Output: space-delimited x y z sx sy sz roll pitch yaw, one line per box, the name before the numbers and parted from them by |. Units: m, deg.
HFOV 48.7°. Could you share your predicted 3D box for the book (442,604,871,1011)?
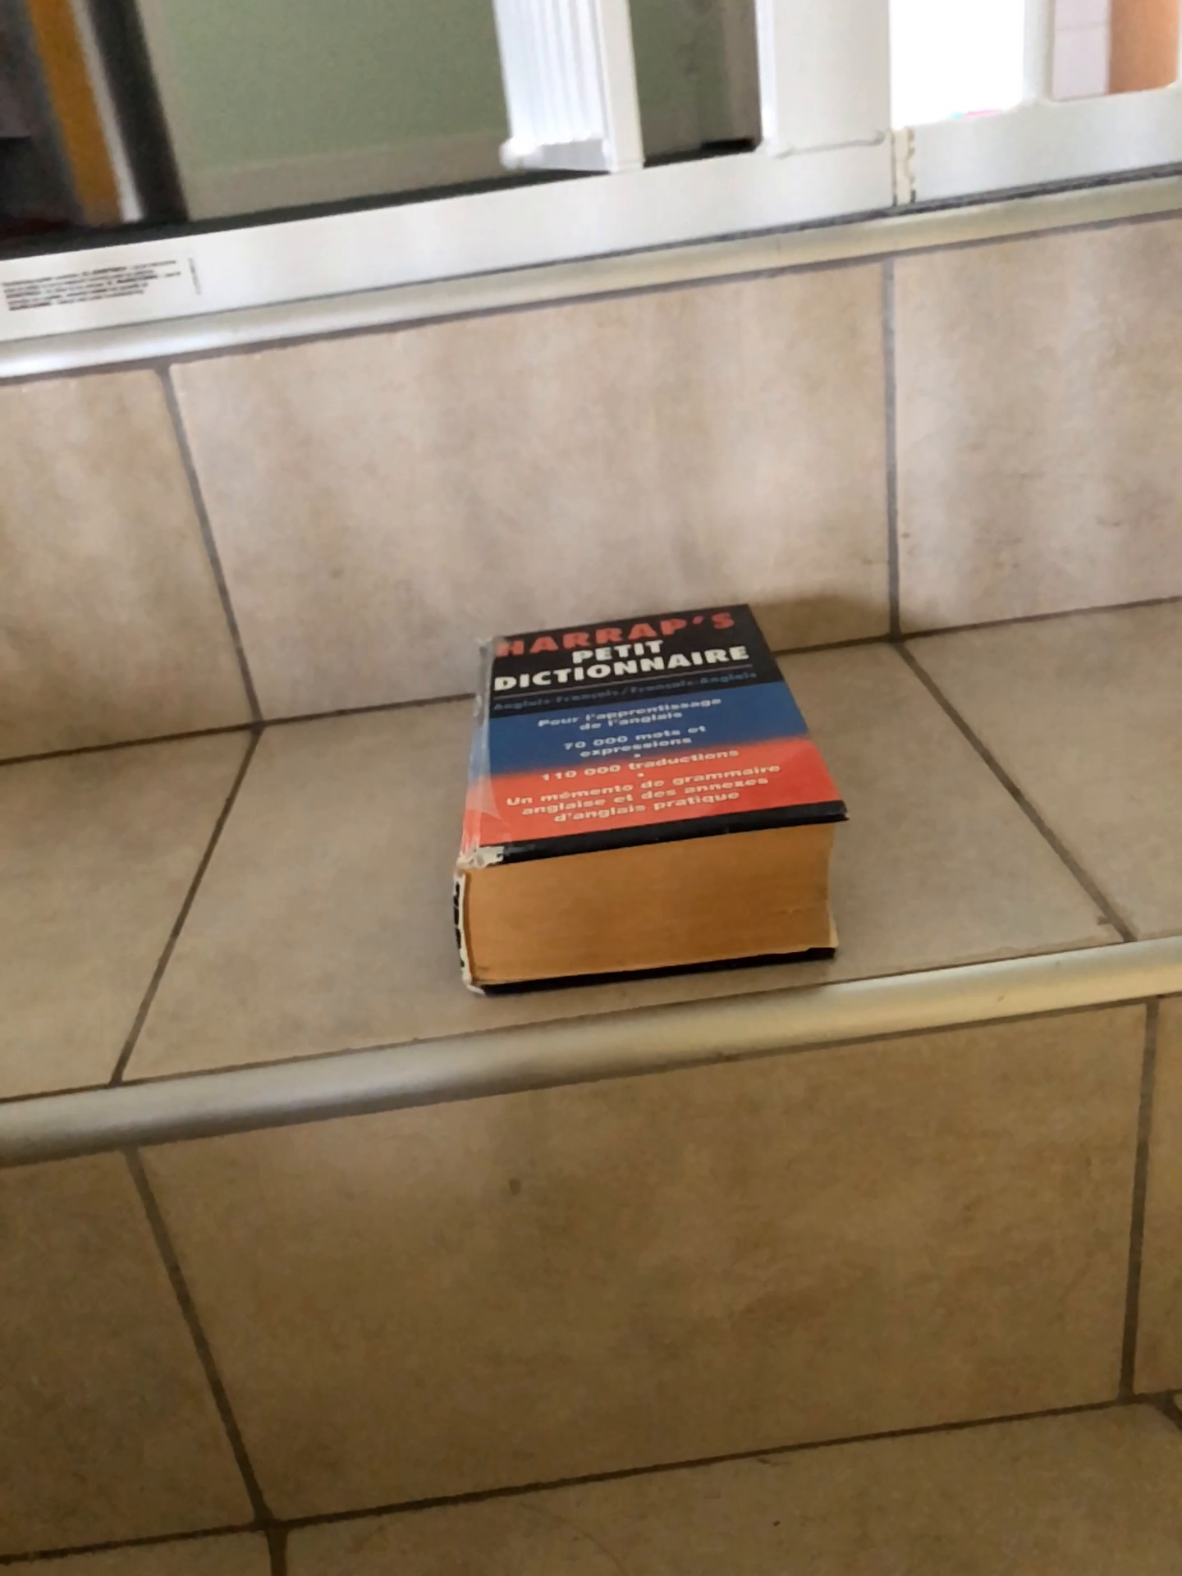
book | 0.017 -0.004 0.455 0.118 0.050 0.186 -8 25 1
